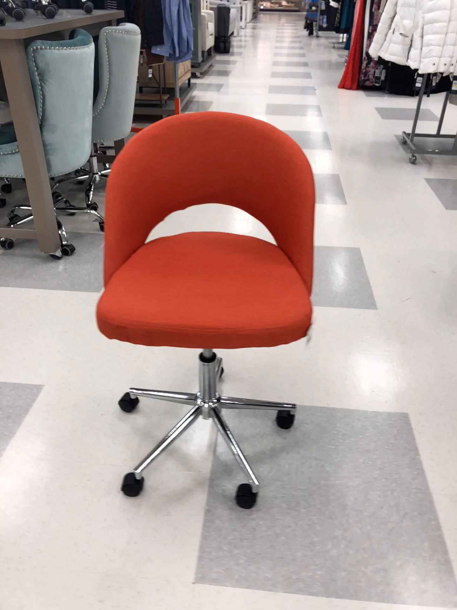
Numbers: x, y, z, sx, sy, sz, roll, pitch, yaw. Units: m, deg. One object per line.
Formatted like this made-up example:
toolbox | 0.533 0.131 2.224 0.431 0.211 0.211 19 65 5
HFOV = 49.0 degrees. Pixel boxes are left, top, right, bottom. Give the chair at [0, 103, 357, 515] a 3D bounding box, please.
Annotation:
chair | -0.076 -0.008 1.313 0.599 0.858 0.611 2 32 2
